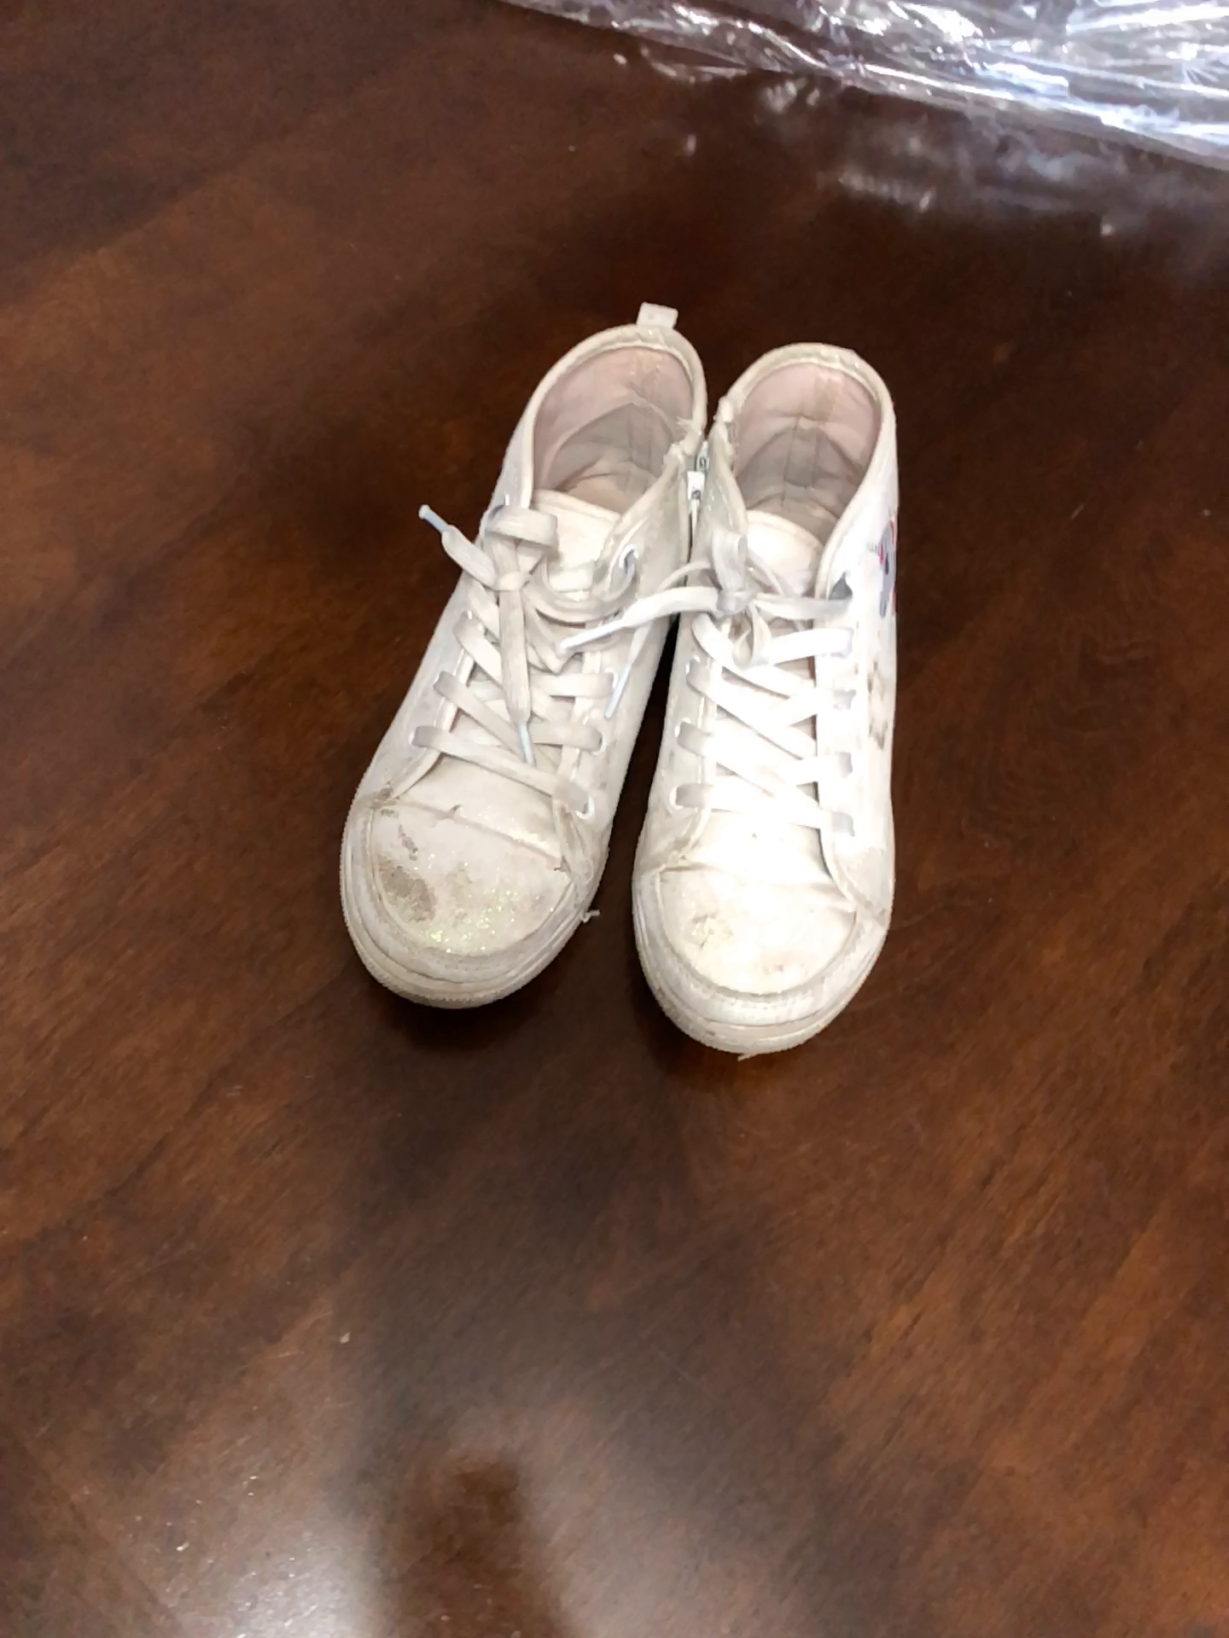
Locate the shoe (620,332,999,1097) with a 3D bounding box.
[{"bbox_3d":[0.058,-0.035,0.442,0.090,0.100,0.220,6,64,-2],"label":"shoe"}]

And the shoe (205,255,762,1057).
[{"bbox_3d":[-0.032,-0.054,0.433,0.090,0.100,0.220,17,64,4],"label":"shoe"}]
